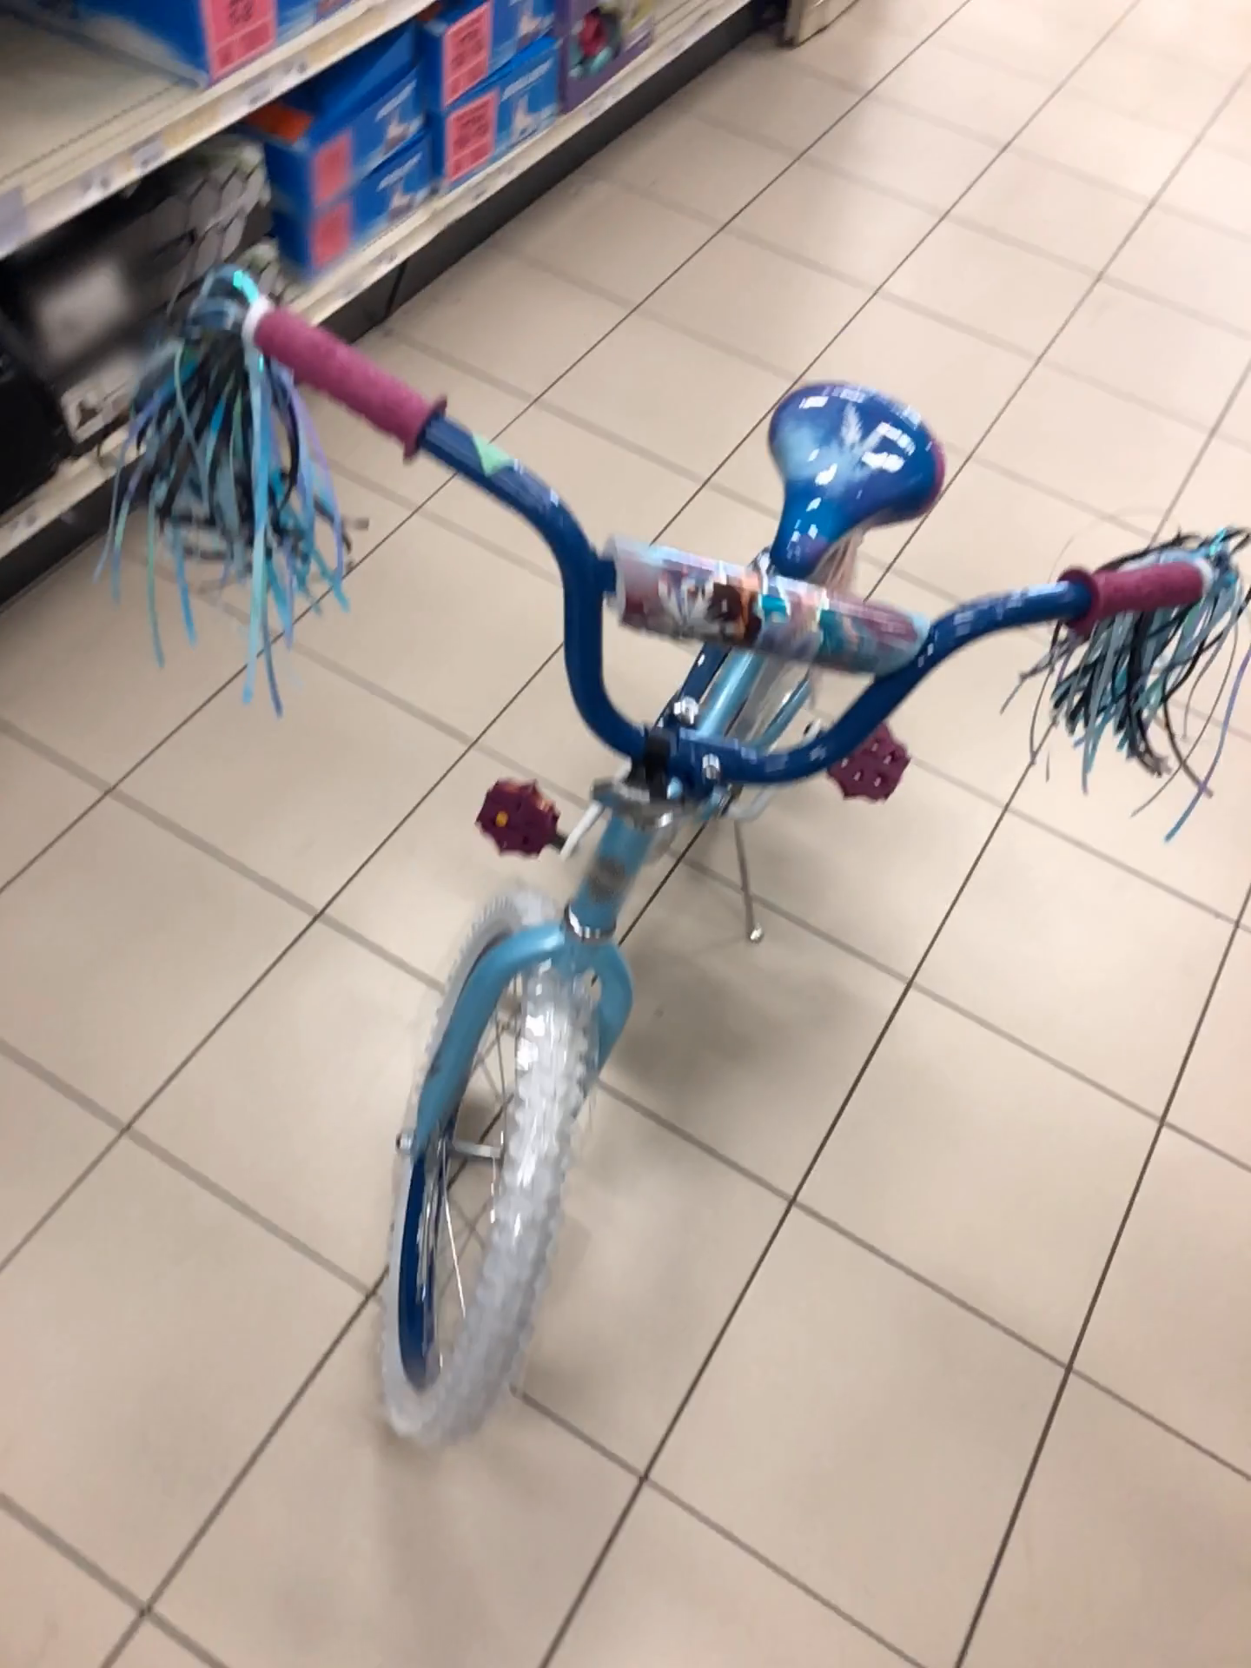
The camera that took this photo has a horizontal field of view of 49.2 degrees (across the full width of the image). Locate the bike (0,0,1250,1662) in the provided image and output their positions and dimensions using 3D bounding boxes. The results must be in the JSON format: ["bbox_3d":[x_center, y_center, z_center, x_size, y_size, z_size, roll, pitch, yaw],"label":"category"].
[{"bbox_3d":[0.117,-0.112,1.151,0.641,0.954,1.179,21,52,8],"label":"bike"}]
